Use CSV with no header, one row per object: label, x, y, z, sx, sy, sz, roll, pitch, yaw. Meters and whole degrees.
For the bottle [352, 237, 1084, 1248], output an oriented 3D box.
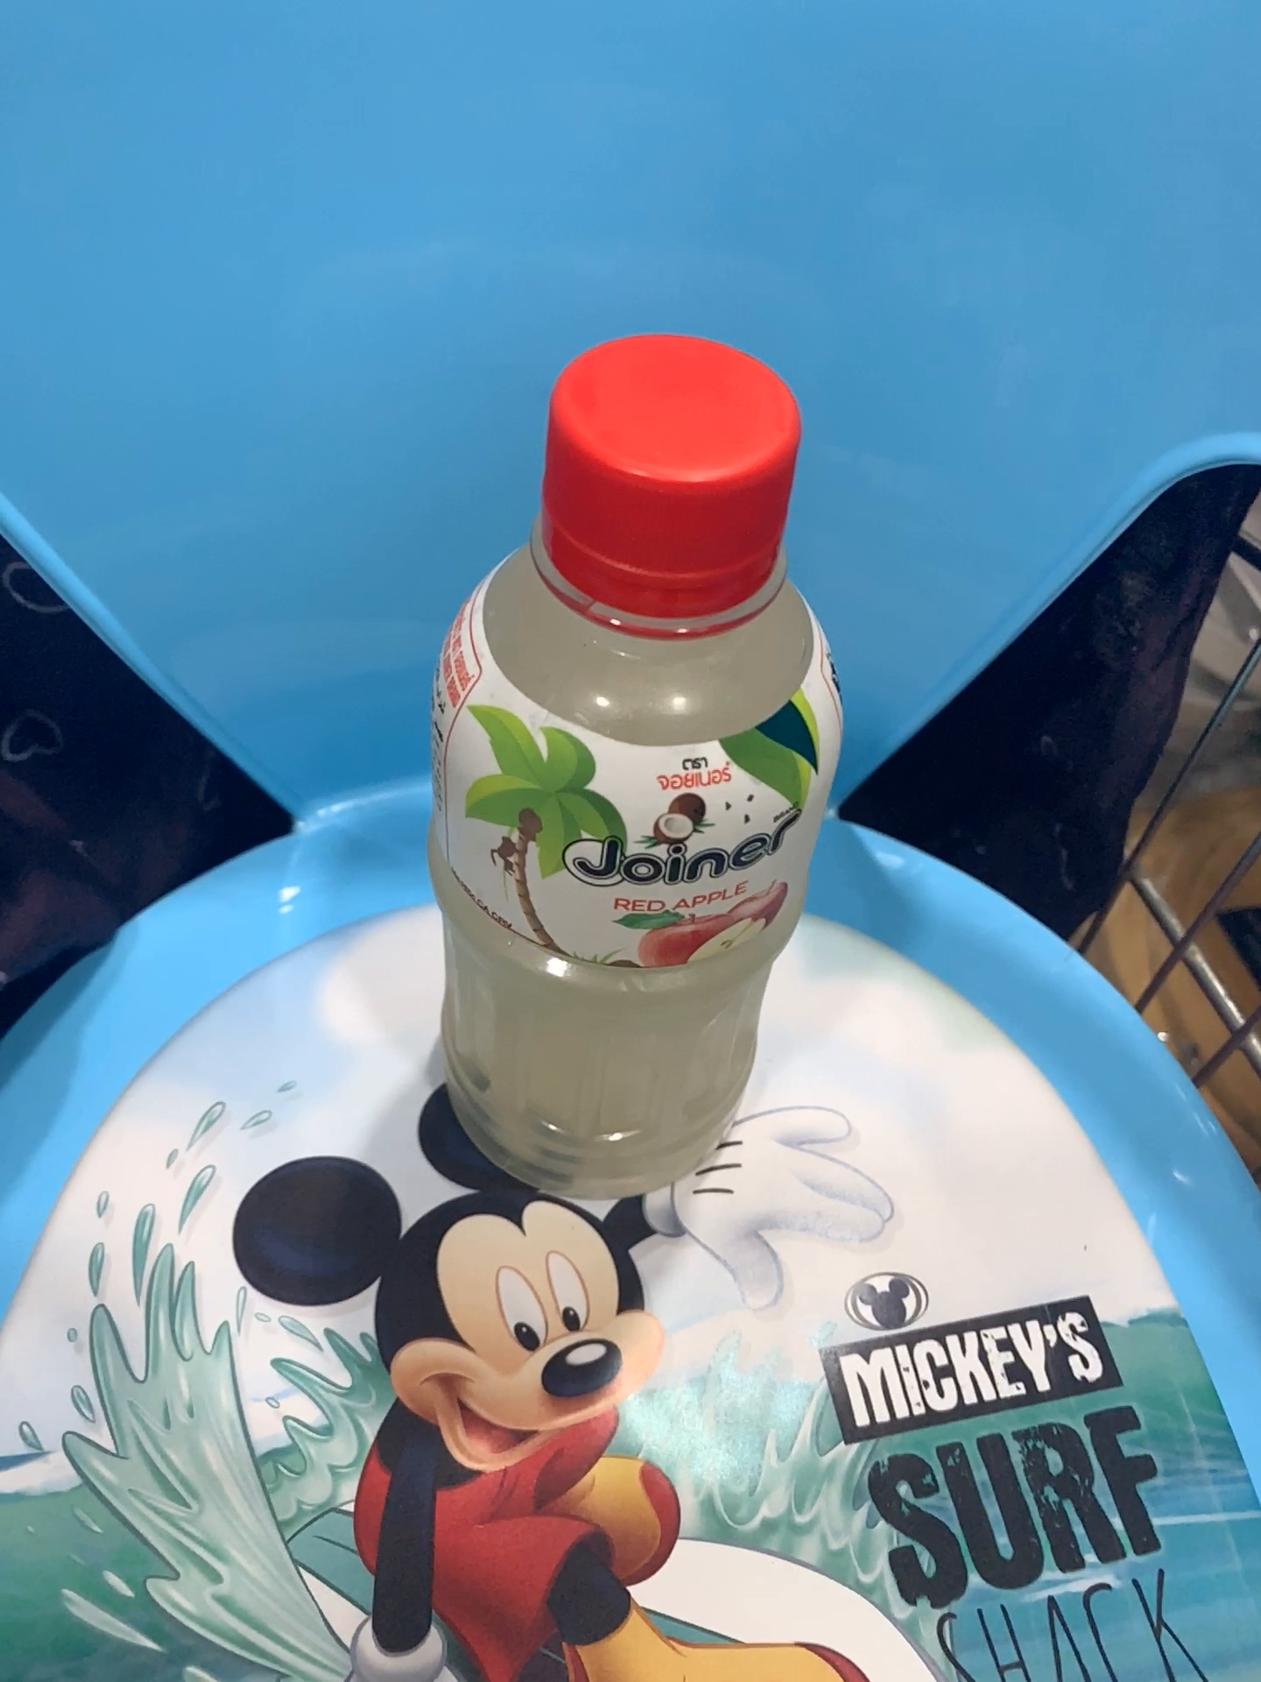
bottle,0.002,-0.003,0.200,0.070,0.150,0.060,-5,49,-8
